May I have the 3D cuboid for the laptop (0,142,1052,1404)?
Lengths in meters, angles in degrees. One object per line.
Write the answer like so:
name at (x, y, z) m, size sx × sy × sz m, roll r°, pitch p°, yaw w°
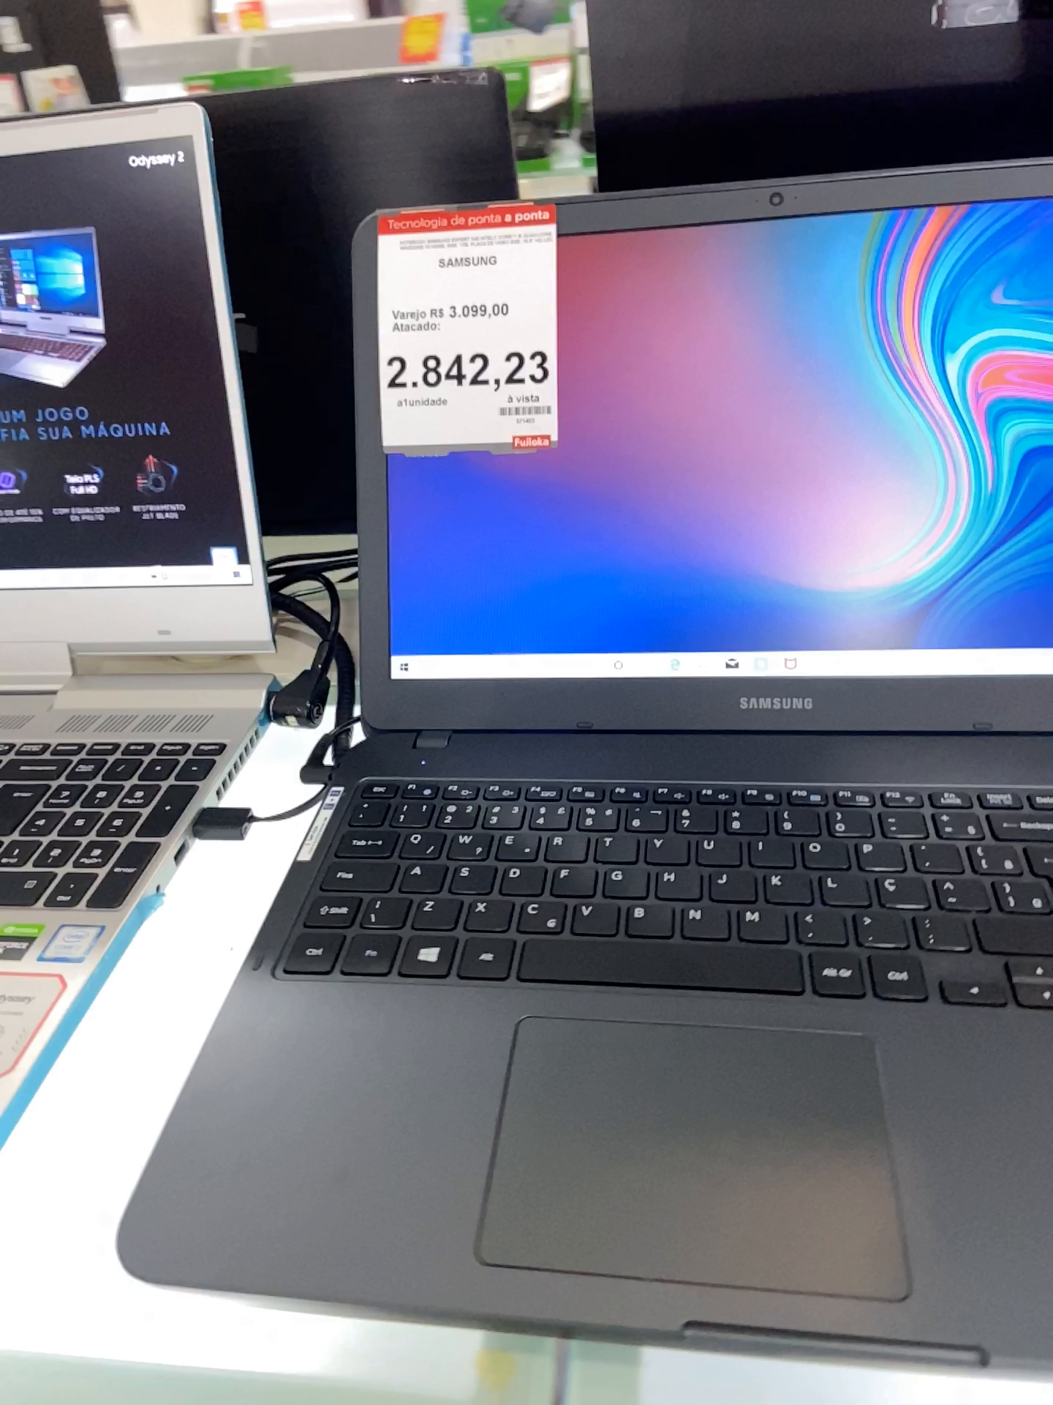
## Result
laptop at (0.088, -0.037, 0.359) m, size 0.366 × 0.193 × 0.371 m, roll 0°, pitch 33°, yaw 10°
